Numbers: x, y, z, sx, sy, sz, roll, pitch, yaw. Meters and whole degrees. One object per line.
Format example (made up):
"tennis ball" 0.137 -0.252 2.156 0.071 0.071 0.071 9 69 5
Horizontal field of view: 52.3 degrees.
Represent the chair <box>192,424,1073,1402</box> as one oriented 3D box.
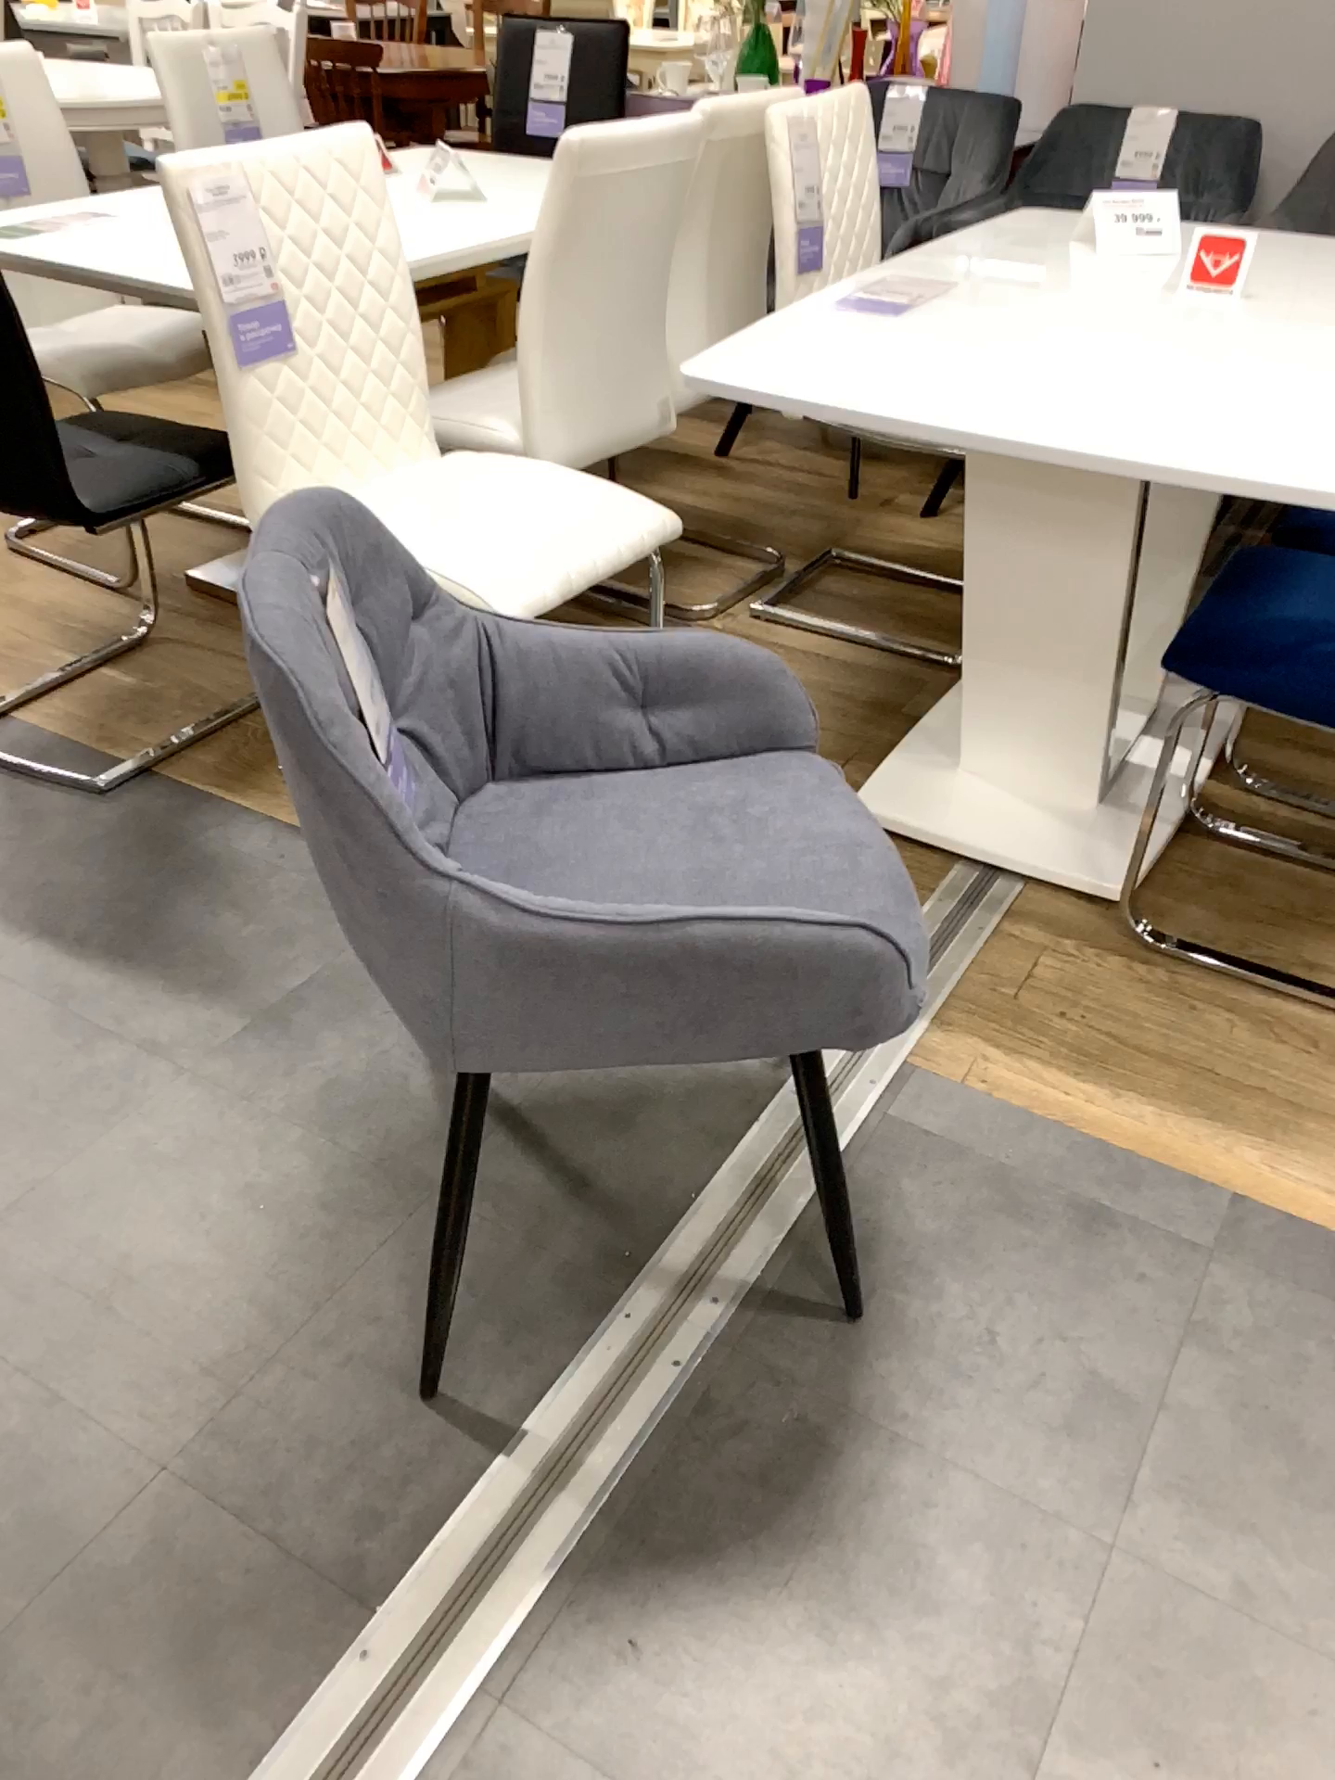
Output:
"chair" -0.048 0.012 1.359 0.590 0.775 0.563 -1 35 -5
